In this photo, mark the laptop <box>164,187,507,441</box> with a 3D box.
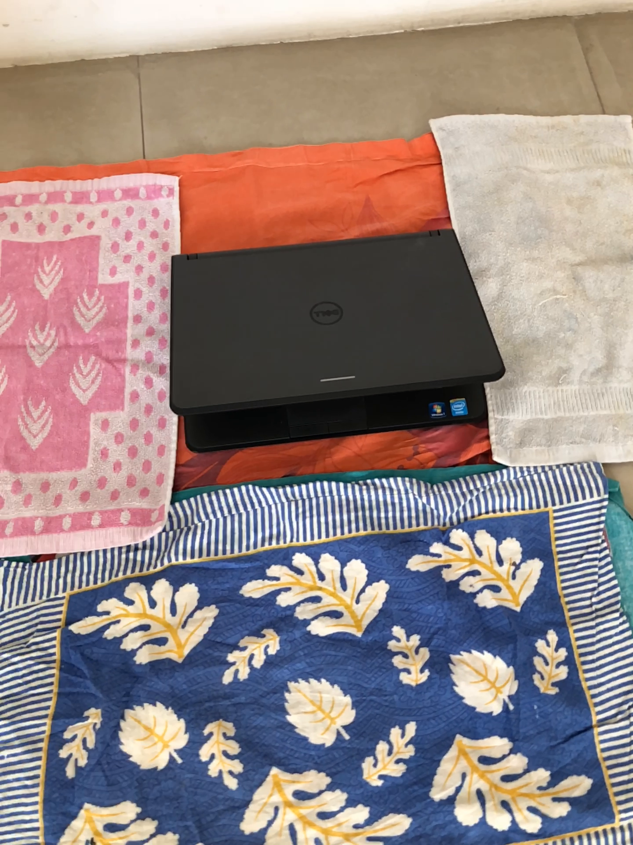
[{"bbox_3d":[0.011,-0.116,0.726,0.314,0.078,0.227,-6,68,-3],"label":"laptop"}]
